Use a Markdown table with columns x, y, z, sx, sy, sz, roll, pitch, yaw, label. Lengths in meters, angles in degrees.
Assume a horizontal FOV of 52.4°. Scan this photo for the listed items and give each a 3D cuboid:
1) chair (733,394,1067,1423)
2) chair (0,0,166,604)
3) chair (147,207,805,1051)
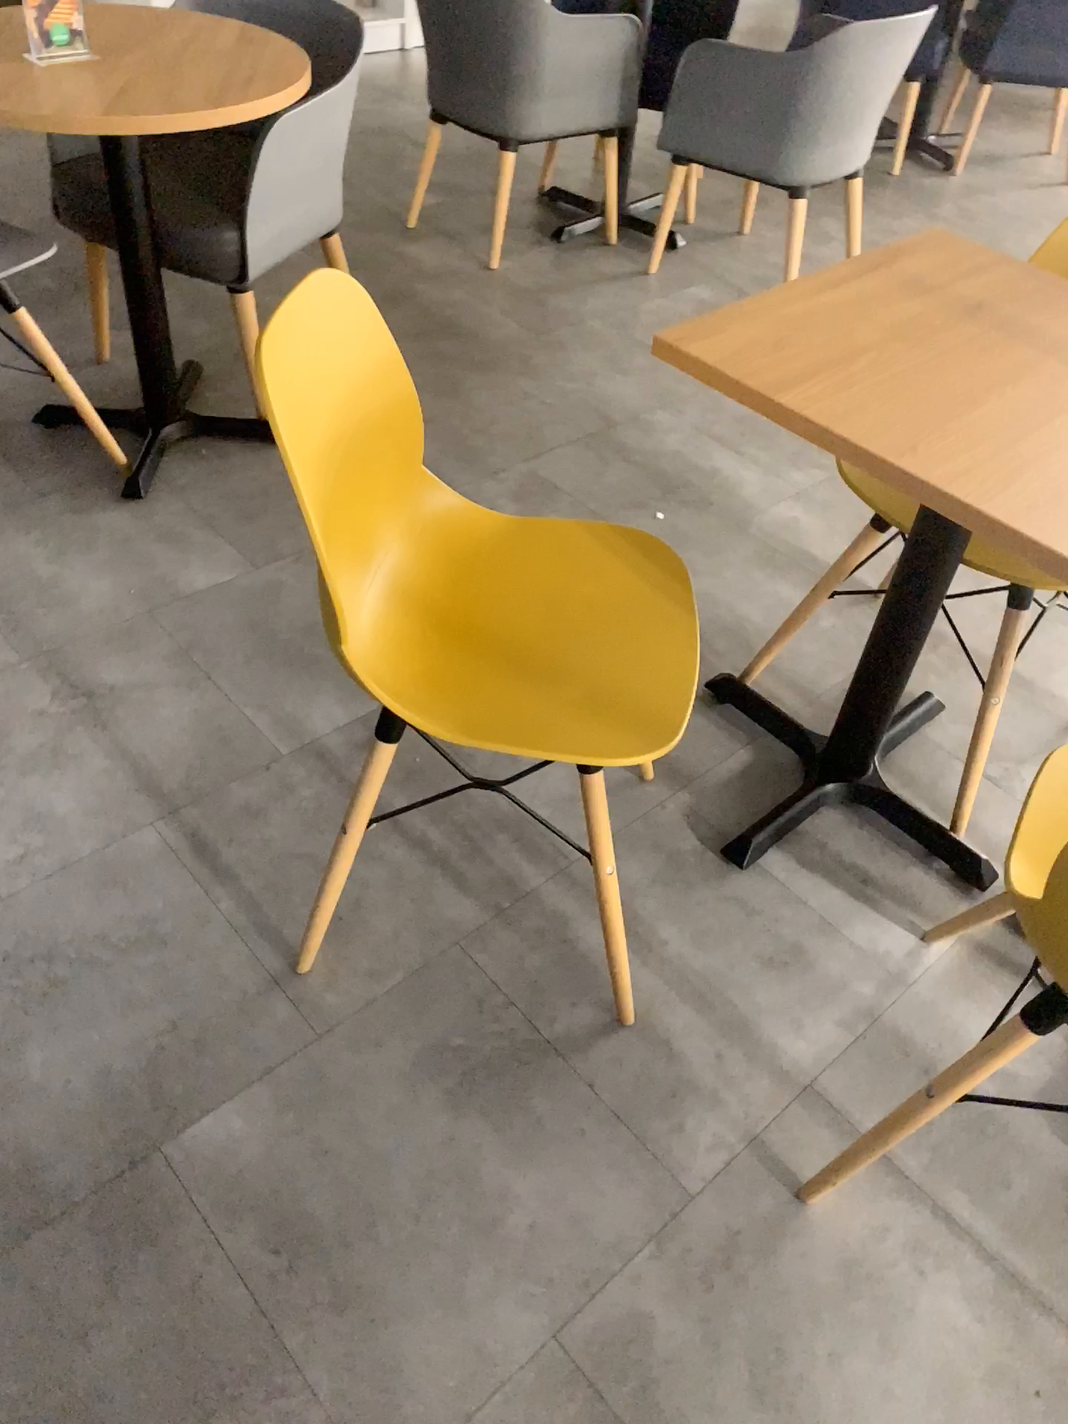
| x | y | z | sx | sy | sz | roll | pitch | yaw | label |
| --- | --- | --- | --- | --- | --- | --- | --- | --- | --- |
| 0.617 | 0.231 | 1.056 | 0.518 | 0.781 | 0.532 | 26 | 47 | 20 | chair |
| -1.080 | -0.724 | 1.863 | 0.517 | 0.781 | 0.543 | 23 | 46 | 17 | chair |
| -0.043 | -0.074 | 1.298 | 0.519 | 0.781 | 0.521 | 9 | 43 | 3 | chair |
